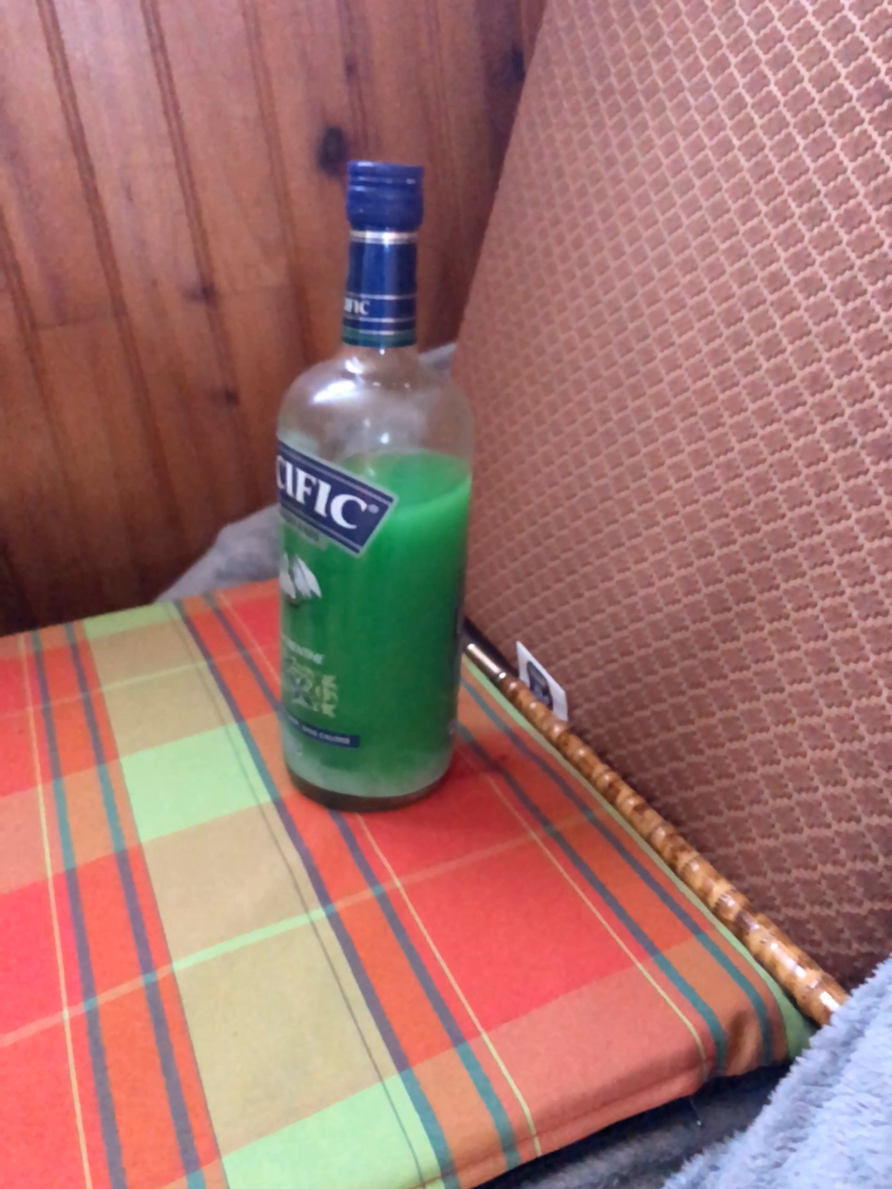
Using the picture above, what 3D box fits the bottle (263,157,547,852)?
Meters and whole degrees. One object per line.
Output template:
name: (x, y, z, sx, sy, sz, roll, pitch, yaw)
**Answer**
bottle: (-0.026, -0.040, 0.453, 0.080, 0.289, 0.090, -11, 25, -32)
